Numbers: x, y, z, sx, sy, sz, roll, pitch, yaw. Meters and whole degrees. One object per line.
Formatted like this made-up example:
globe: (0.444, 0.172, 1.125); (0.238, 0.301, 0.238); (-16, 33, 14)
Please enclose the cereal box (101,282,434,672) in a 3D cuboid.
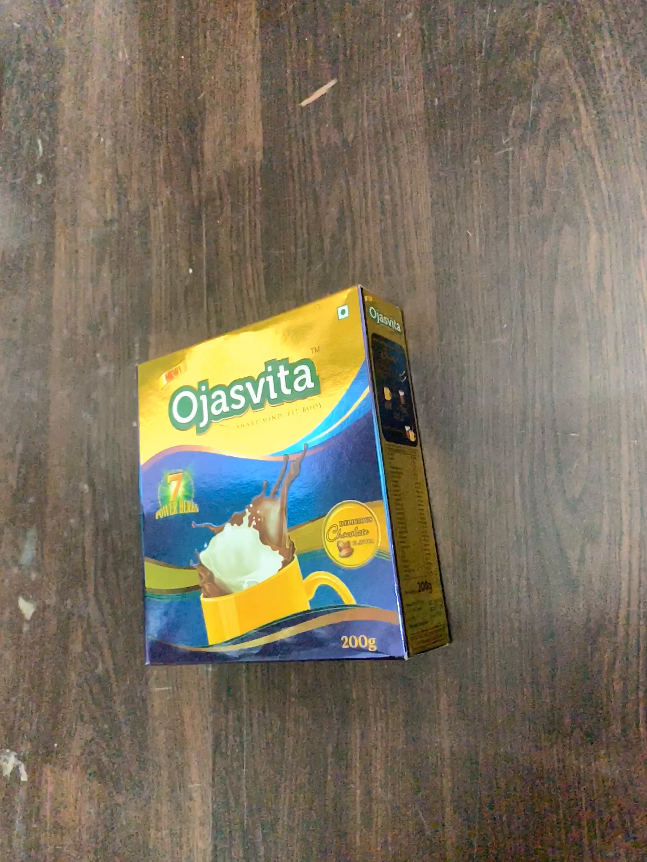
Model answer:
cereal box: (-0.036, 0.029, 0.313); (0.151, 0.040, 0.150); (-14, 74, 30)
